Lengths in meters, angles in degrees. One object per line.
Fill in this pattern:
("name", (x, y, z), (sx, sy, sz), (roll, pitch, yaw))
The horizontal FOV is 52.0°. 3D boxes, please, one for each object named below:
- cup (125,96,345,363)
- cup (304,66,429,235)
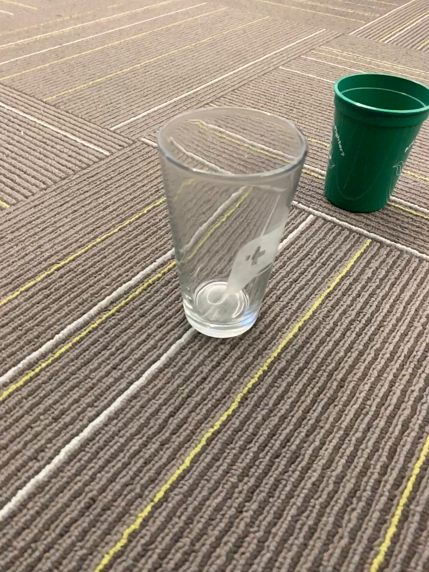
("cup", (0.014, -0.037, 0.281), (0.090, 0.119, 0.090), (1, 44, -1))
("cup", (0.149, -0.130, 0.423), (0.080, 0.119, 0.070), (34, 53, 29))
